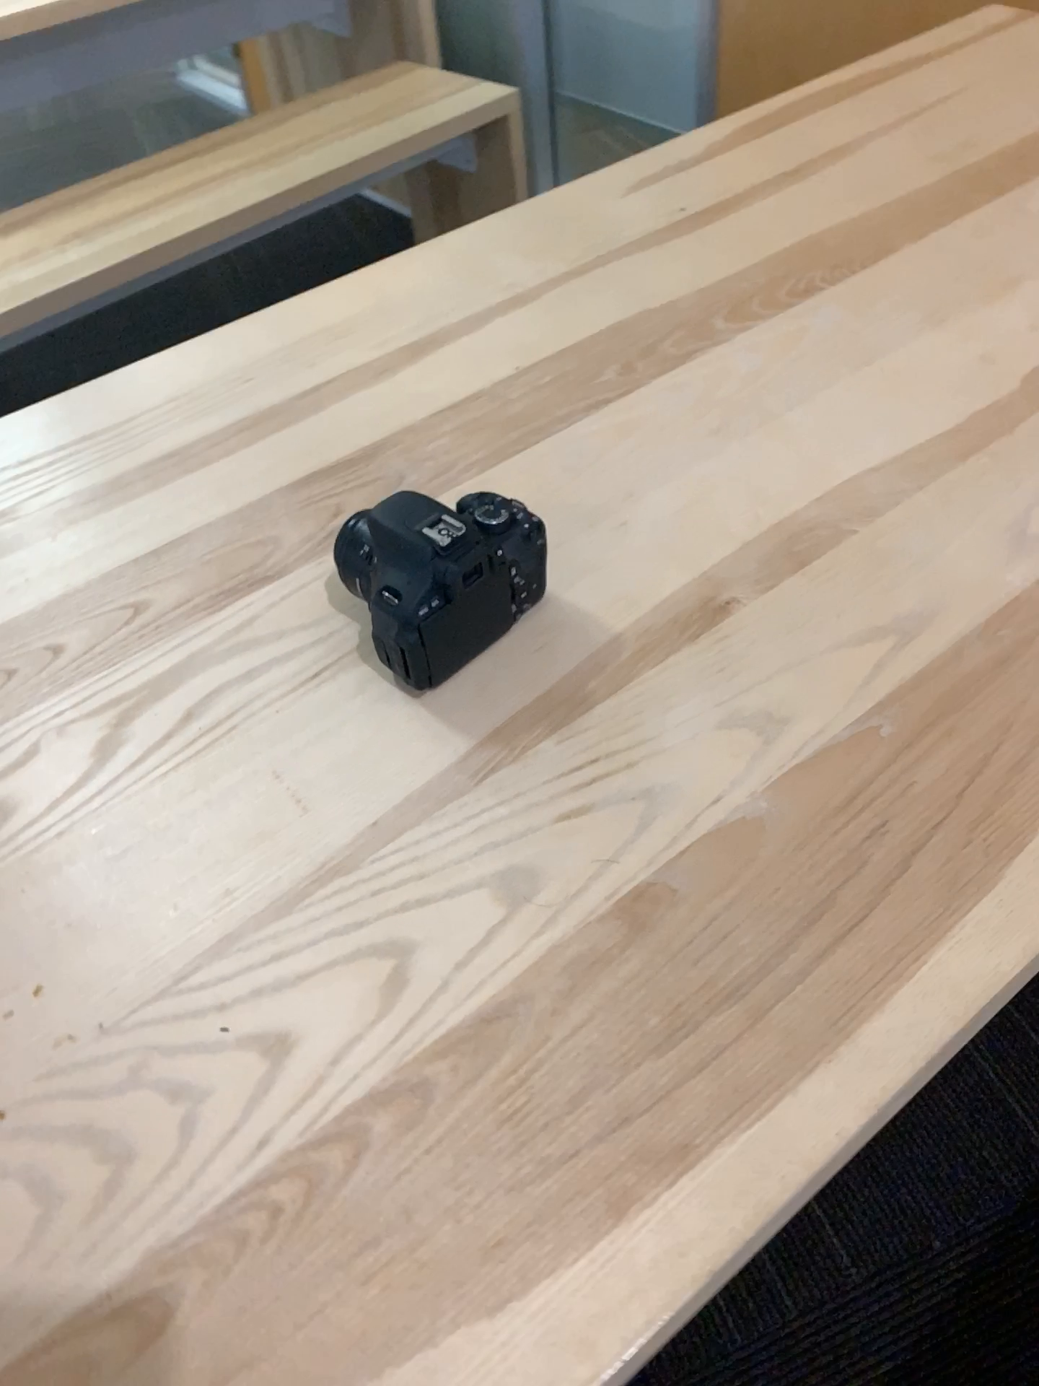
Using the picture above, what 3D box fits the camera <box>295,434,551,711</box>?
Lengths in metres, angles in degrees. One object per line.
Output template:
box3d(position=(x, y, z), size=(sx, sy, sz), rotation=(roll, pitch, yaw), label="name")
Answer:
box3d(position=(-0.062, -0.084, 0.728), size=(0.114, 0.101, 0.120), rotation=(35, 59, 26), label="camera")
